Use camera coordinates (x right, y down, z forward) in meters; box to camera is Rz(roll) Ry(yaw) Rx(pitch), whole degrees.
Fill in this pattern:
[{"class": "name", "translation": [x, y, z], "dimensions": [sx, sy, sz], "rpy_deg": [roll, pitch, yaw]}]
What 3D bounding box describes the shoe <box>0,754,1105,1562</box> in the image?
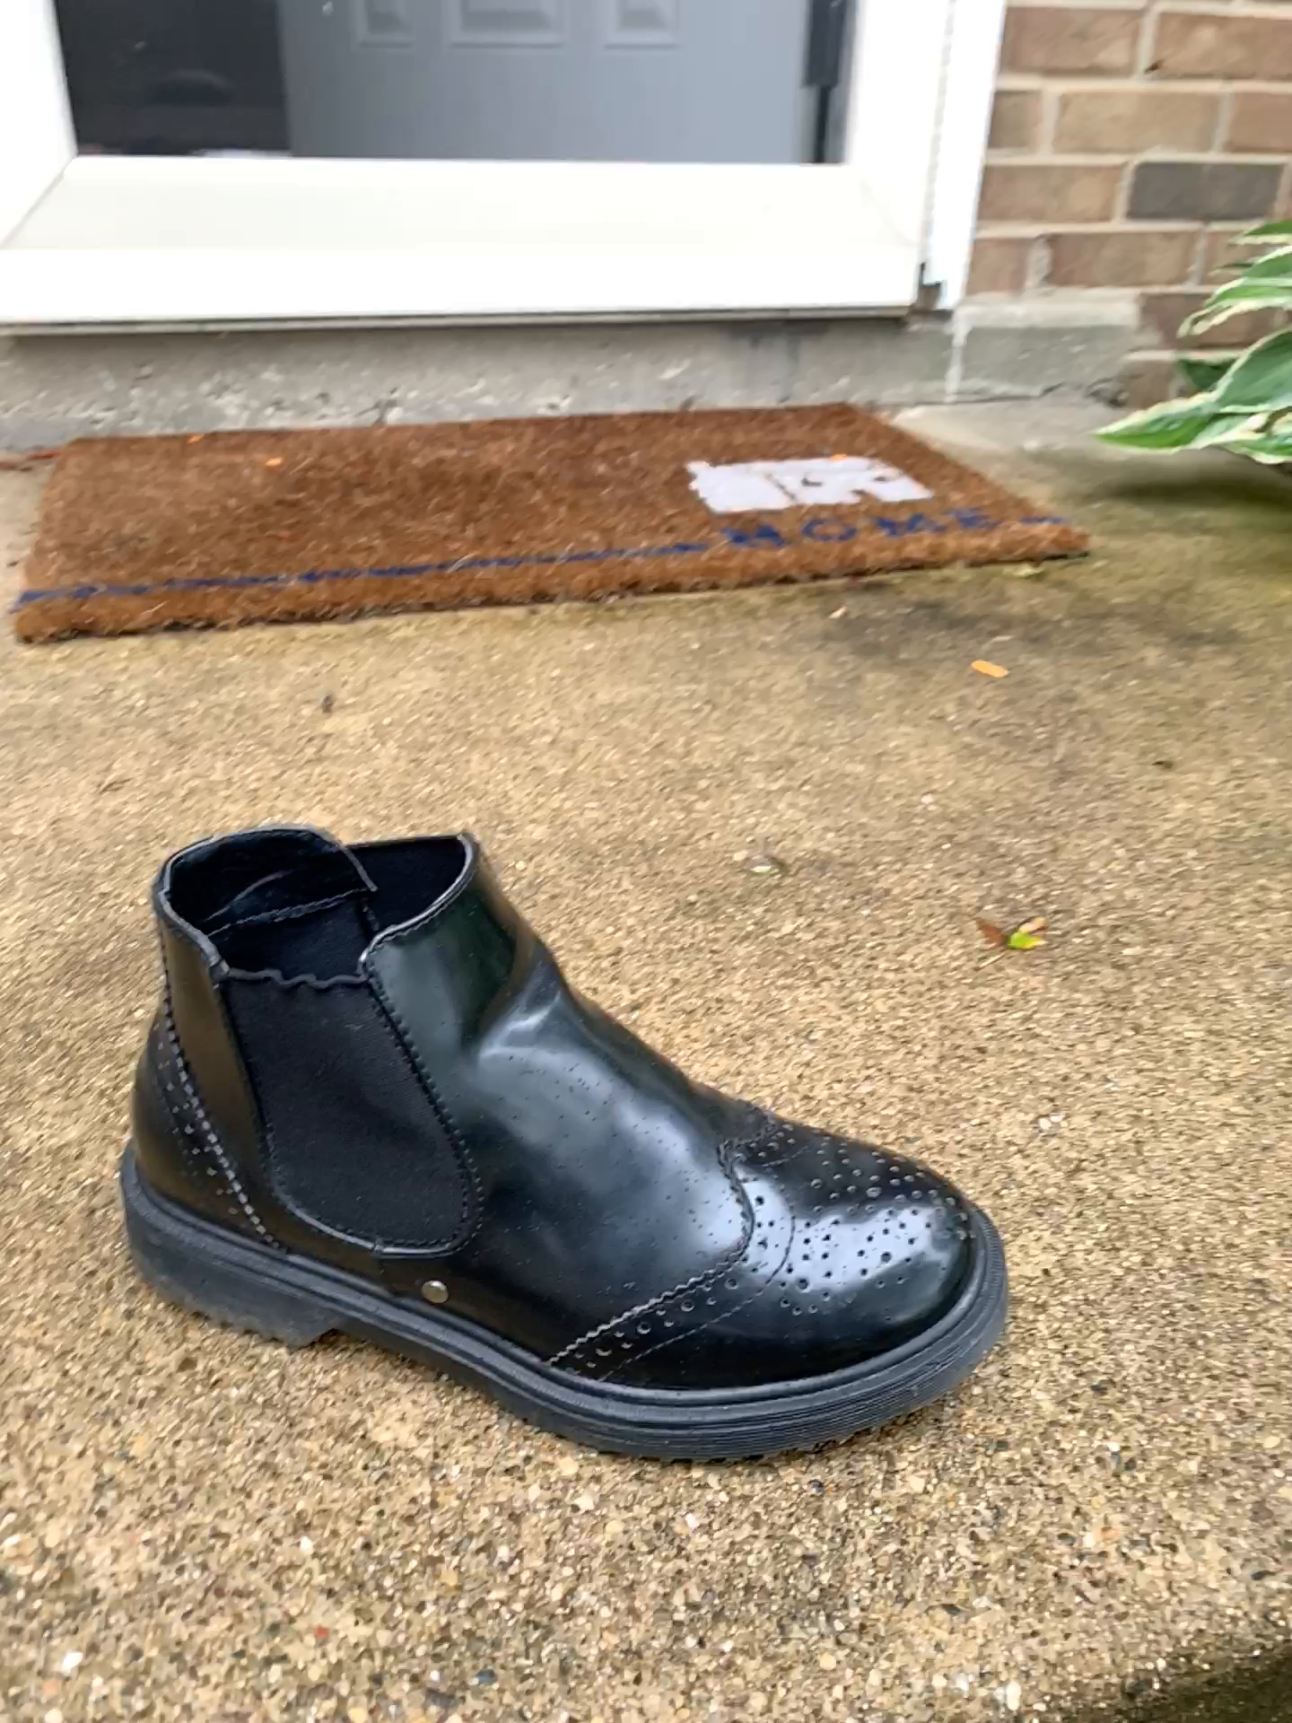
[{"class": "shoe", "translation": [-0.027, 0.076, 0.383], "dimensions": [0.267, 0.148, 0.119], "rpy_deg": [7, 31, 8]}]
